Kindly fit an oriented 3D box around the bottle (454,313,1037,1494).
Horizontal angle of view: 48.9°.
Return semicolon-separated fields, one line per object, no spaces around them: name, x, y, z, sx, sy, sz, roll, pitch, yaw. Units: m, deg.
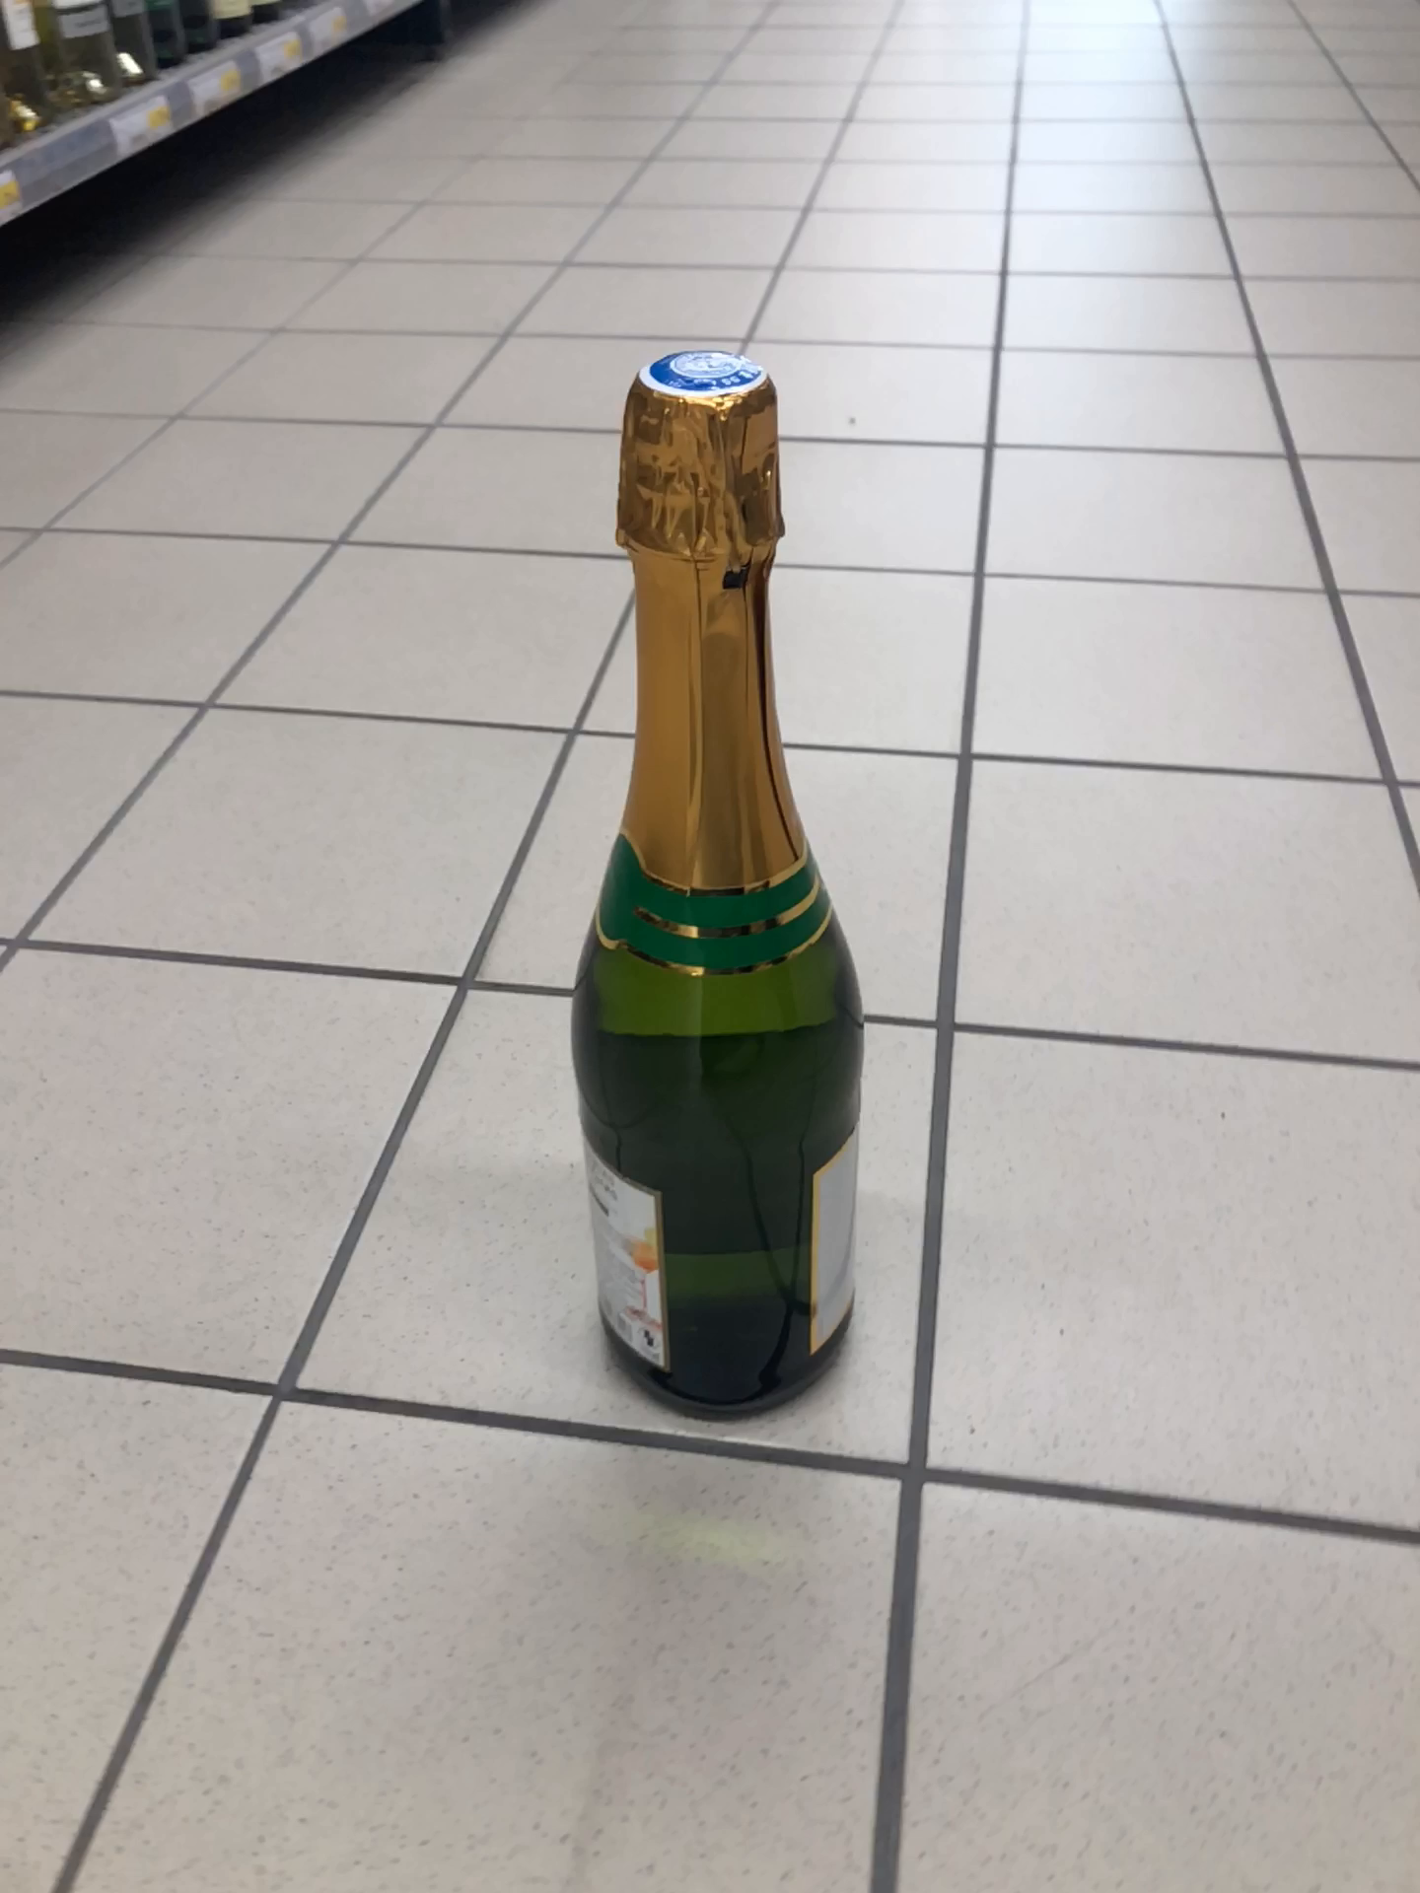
bottle;0.008;0.005;0.414;0.090;0.298;0.090;-1;38;1
